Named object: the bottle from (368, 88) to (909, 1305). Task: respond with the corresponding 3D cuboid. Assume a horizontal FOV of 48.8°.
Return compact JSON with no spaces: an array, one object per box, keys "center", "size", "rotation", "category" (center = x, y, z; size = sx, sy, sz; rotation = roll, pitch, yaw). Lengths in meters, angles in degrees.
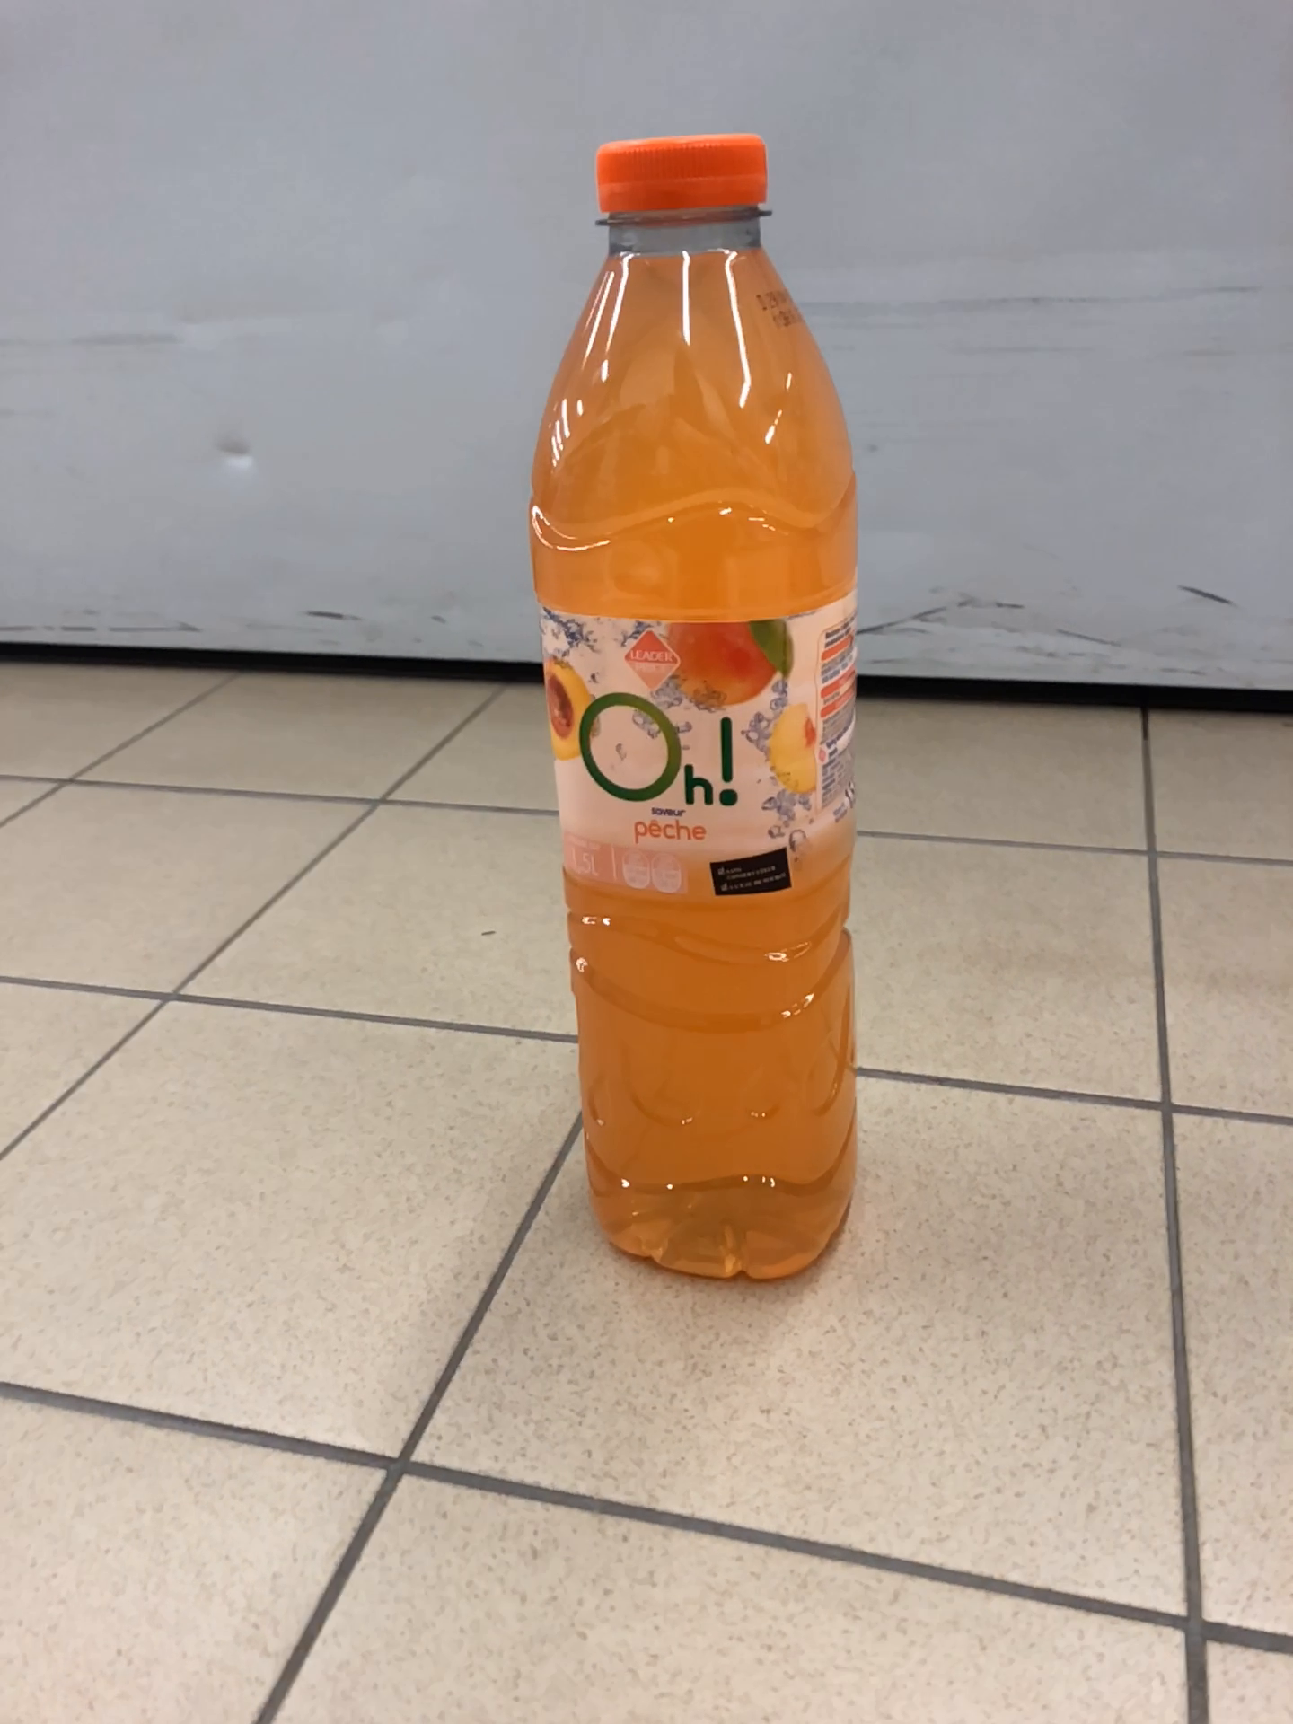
[{"center":[0.012,-0.037,0.390],"size":[0.100,0.298,0.101],"rotation":[-3,25,1],"category":"bottle"}]
